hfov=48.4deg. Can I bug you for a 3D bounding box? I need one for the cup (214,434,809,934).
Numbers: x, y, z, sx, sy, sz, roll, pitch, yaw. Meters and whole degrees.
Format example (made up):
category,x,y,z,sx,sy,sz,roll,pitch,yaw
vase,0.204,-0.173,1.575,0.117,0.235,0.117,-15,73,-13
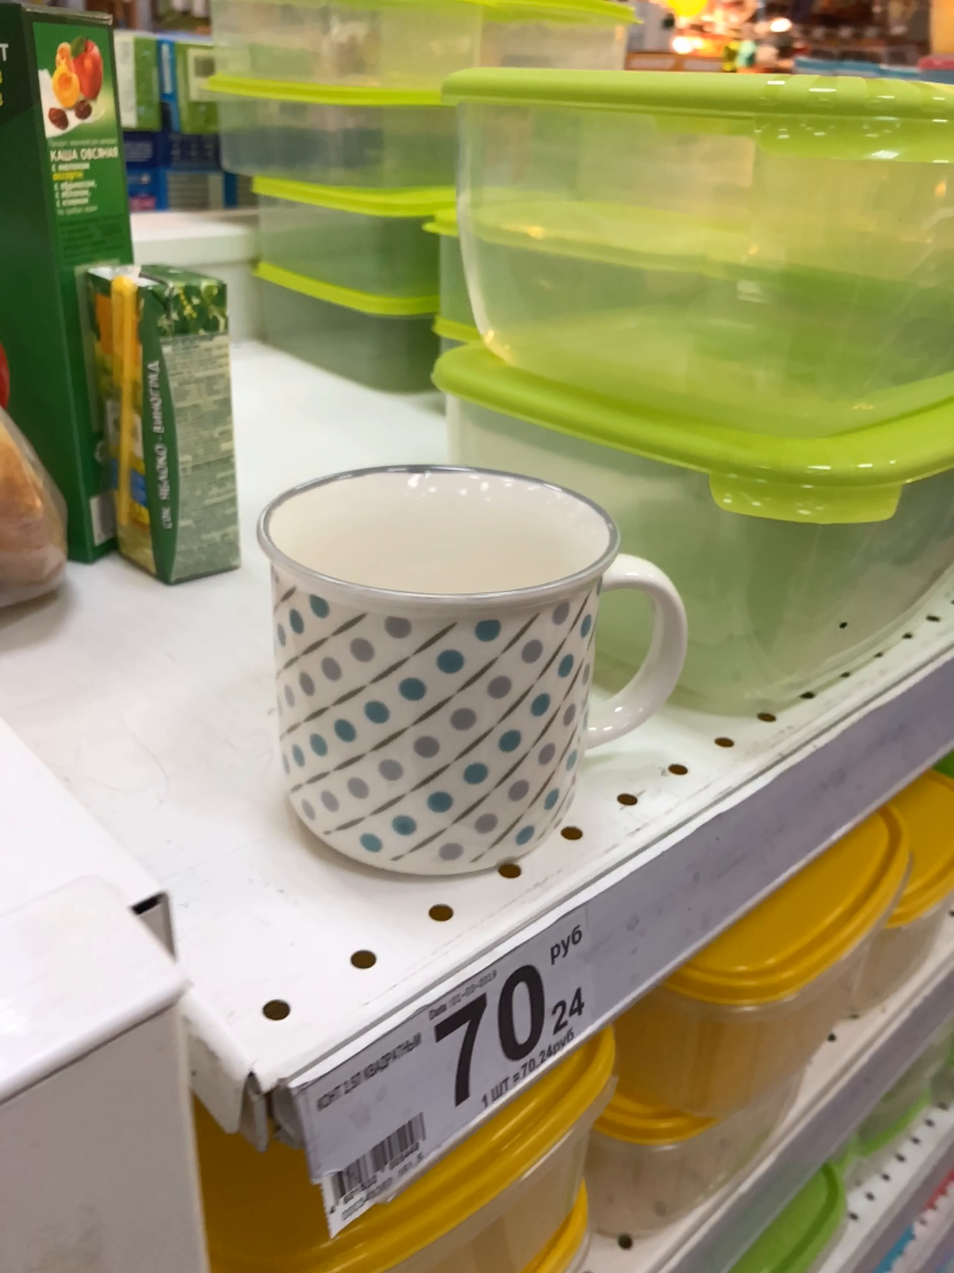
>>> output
category,x,y,z,sx,sy,sz,roll,pitch,yaw
cup,0.004,0.003,0.300,0.128,0.082,0.096,-11,31,-25
